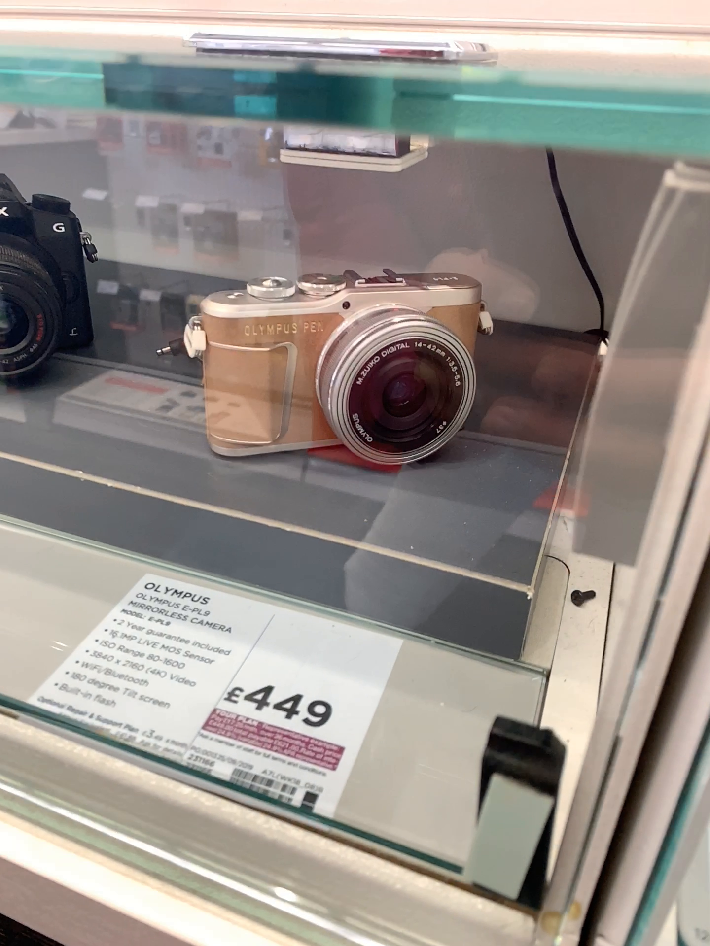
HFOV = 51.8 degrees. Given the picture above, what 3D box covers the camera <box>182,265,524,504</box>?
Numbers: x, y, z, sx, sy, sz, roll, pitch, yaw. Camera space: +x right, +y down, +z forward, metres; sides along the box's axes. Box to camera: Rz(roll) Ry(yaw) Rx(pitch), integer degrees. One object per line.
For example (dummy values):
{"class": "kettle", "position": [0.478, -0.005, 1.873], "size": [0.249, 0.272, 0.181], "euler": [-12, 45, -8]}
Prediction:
{"class": "camera", "position": [-0.004, -0.040, 0.300], "size": [0.120, 0.069, 0.061], "euler": [-7, 30, -17]}
